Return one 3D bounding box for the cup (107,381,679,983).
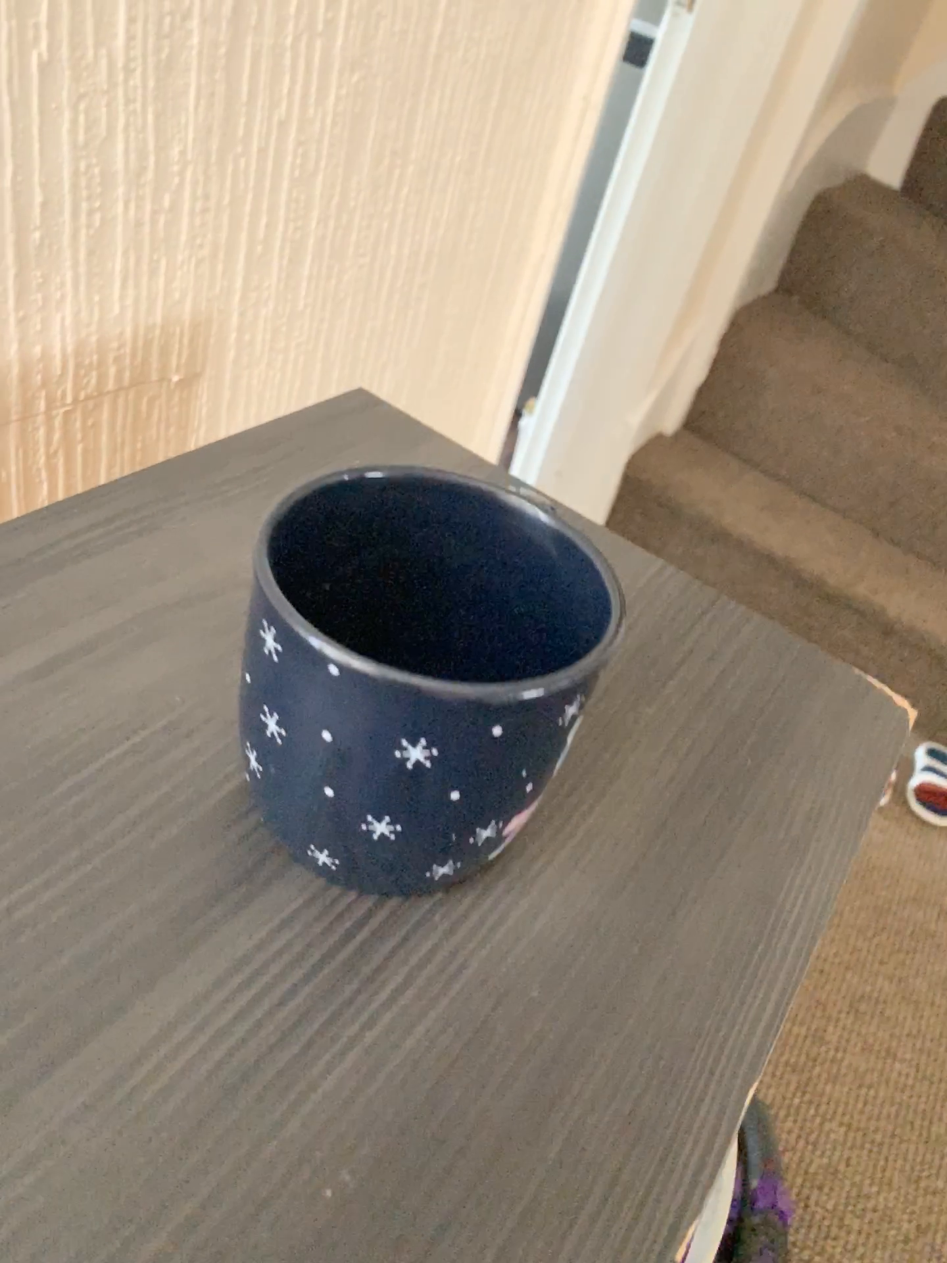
[{"bbox_3d":[-0.015,0.003,0.268,0.100,0.069,0.131,24,38,7],"label":"cup"}]
